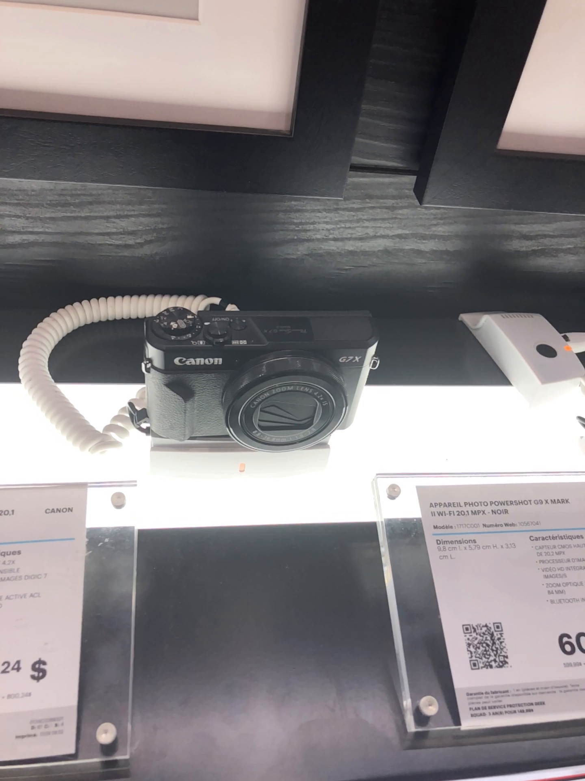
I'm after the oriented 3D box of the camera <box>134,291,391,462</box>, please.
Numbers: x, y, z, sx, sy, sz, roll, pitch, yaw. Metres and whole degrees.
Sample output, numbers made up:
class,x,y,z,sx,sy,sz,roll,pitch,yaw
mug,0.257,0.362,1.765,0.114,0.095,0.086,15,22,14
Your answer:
class,x,y,z,sx,sy,sz,roll,pitch,yaw
camera,-0.018,-0.005,0.312,0.110,0.079,0.030,-1,43,-12
